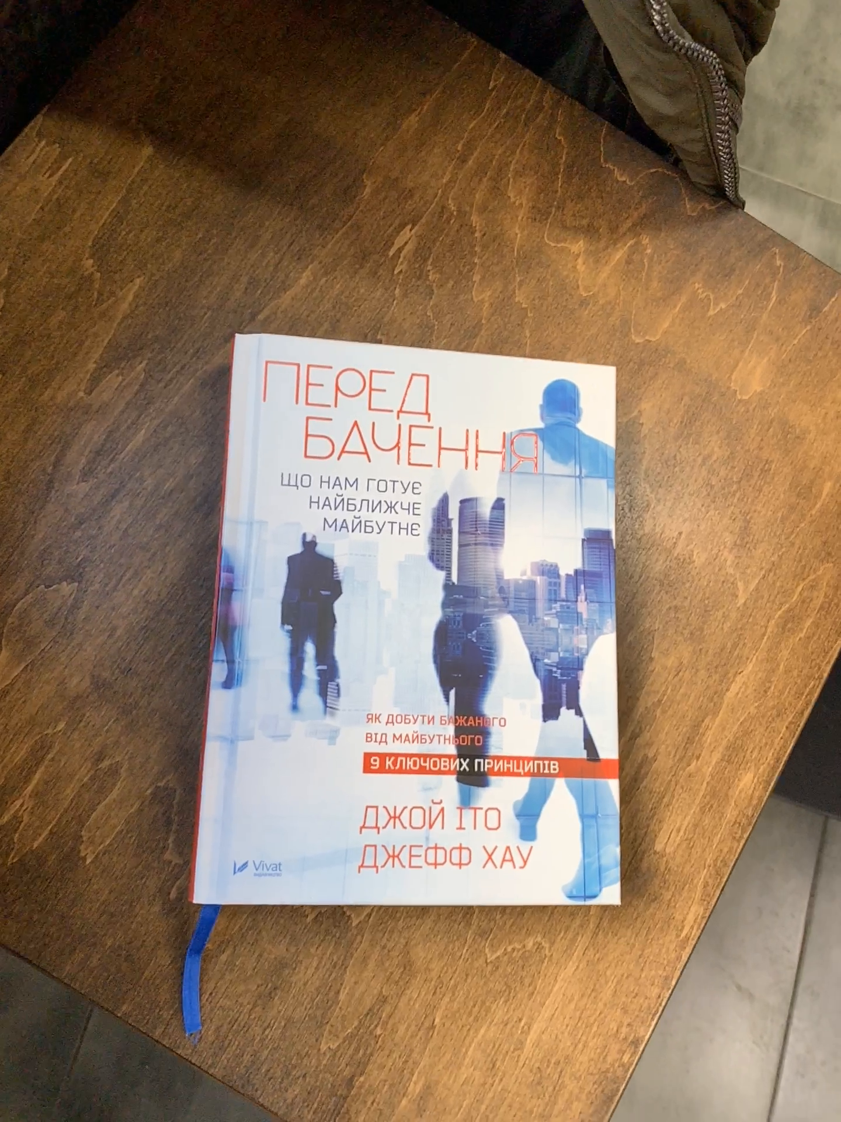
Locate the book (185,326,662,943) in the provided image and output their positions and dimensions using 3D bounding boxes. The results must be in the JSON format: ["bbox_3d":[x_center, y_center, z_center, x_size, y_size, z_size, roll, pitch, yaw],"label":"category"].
[{"bbox_3d":[0.003,0.024,0.305,0.149,0.040,0.196,3,79,-8],"label":"book"}]
